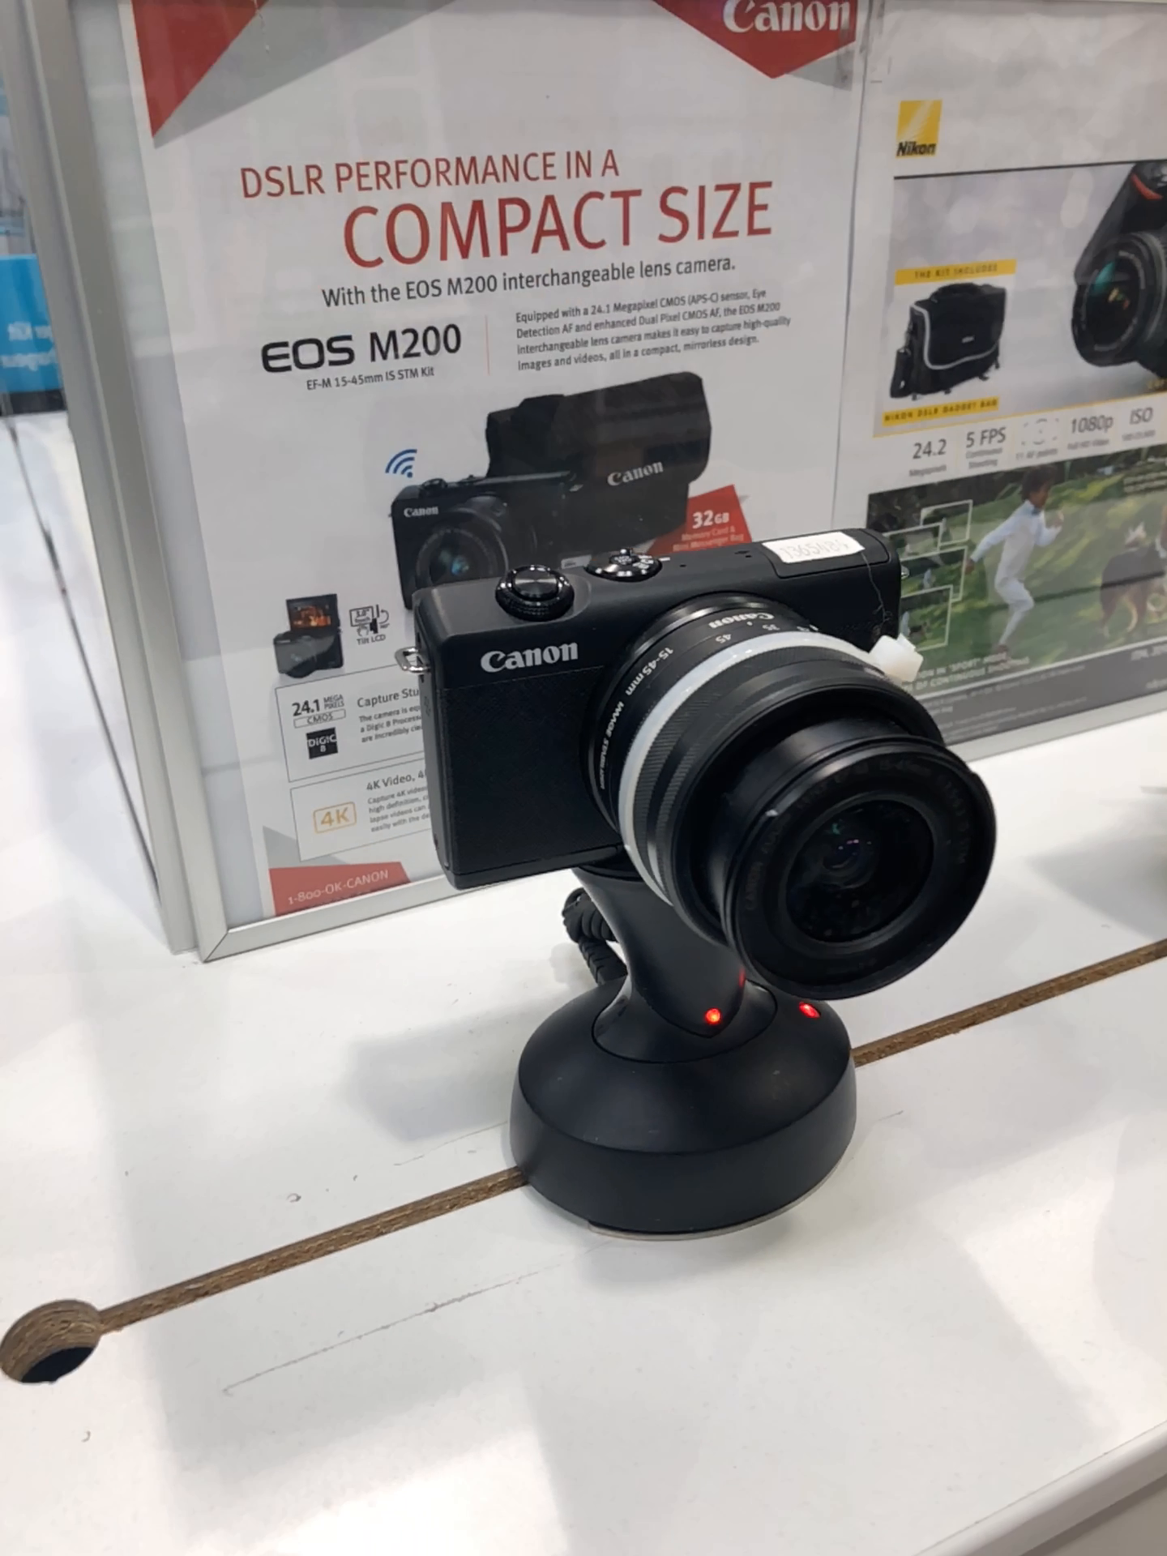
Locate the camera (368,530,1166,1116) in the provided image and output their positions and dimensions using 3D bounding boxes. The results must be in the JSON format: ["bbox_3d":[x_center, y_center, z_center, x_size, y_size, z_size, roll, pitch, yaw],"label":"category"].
[{"bbox_3d":[0.031,-0.004,0.268,0.120,0.050,0.120,-11,29,-18],"label":"camera"}]
